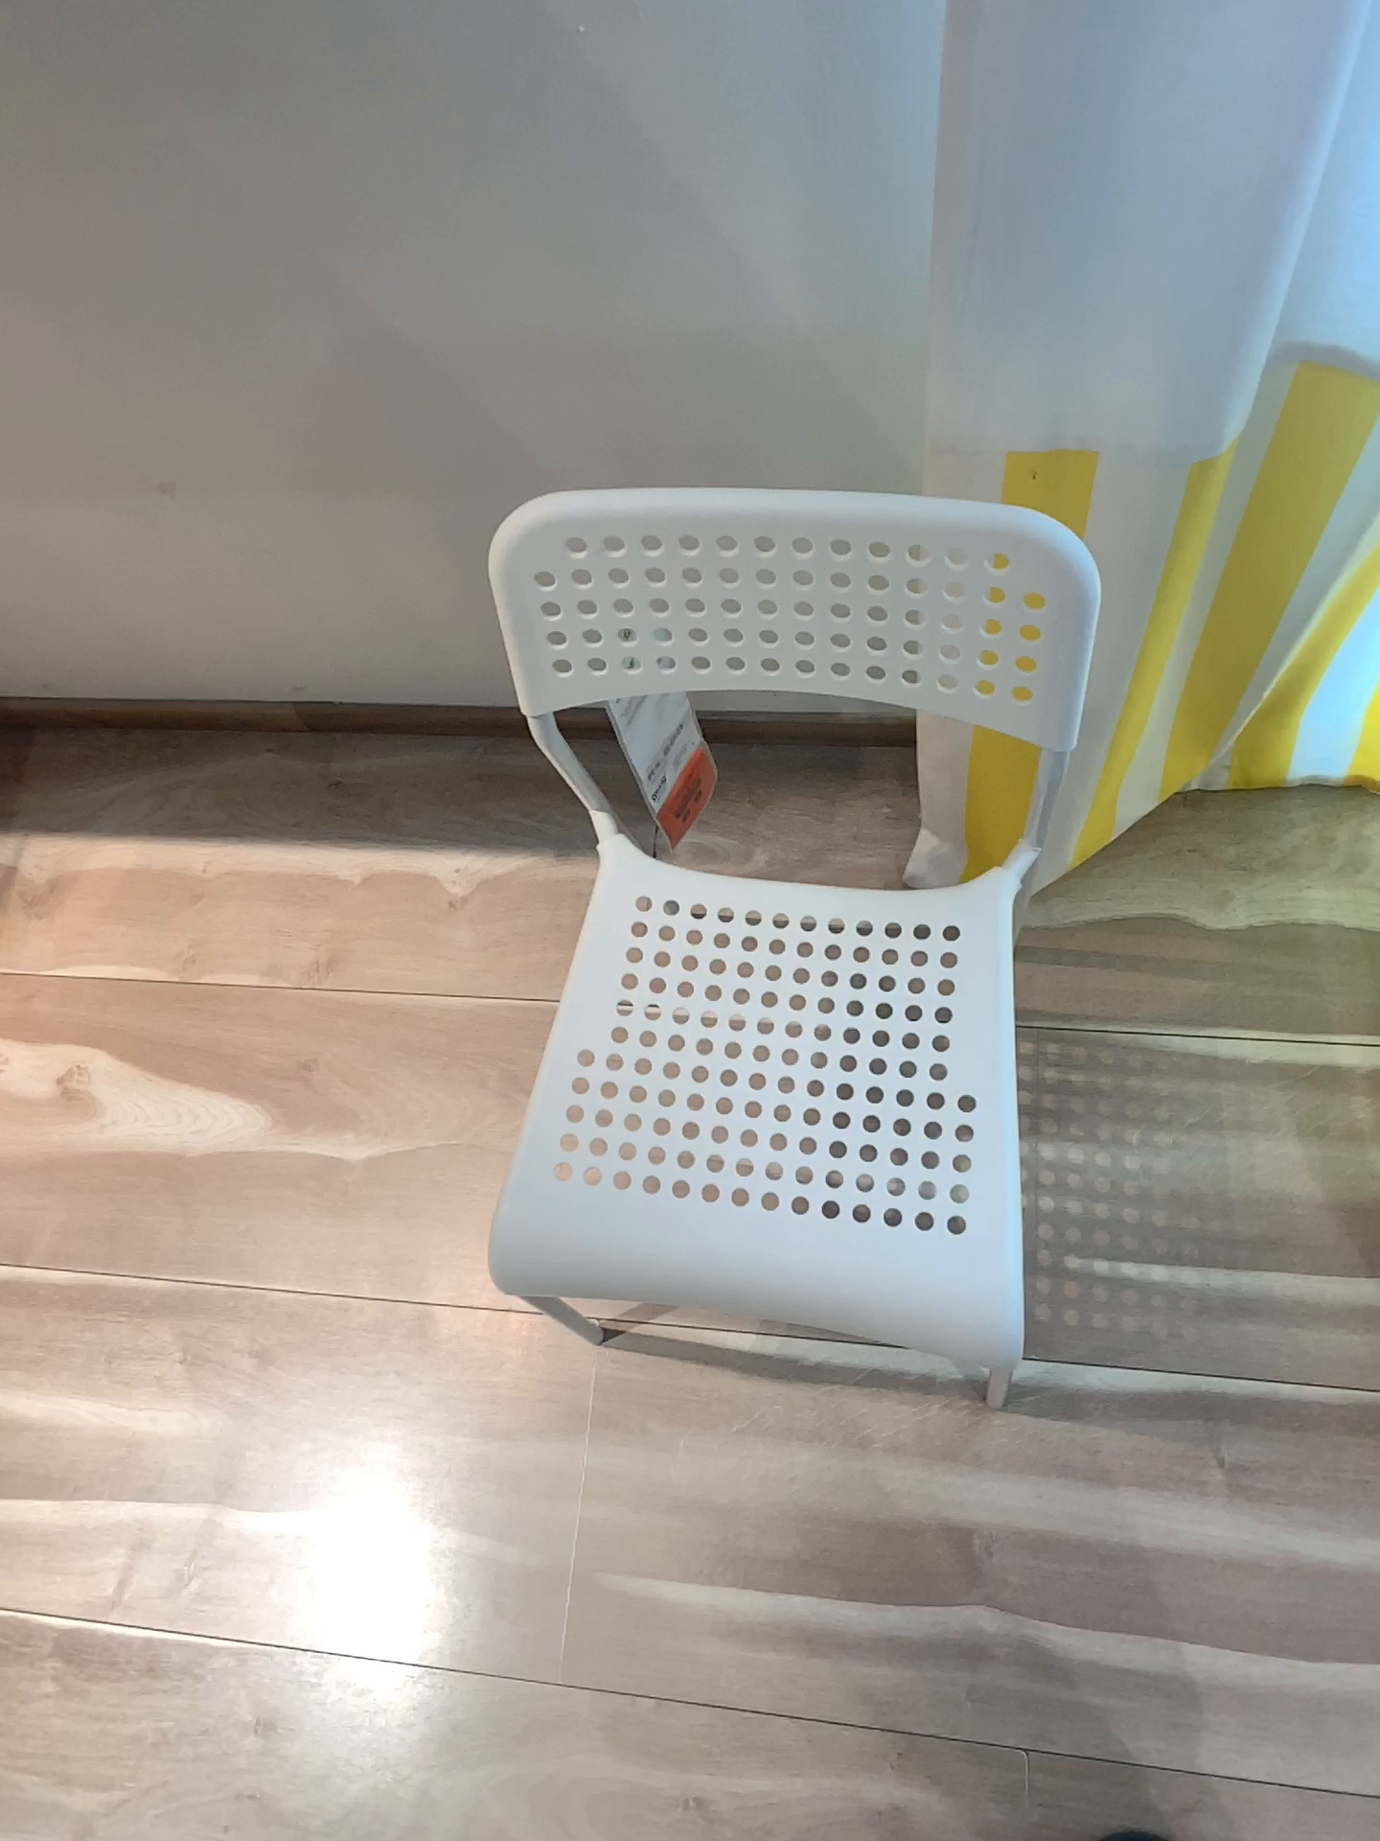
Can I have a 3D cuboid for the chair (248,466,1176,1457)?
[{"bbox_3d":[0.077,0.092,1.059,0.440,0.659,0.530,4,70,11],"label":"chair"}]
